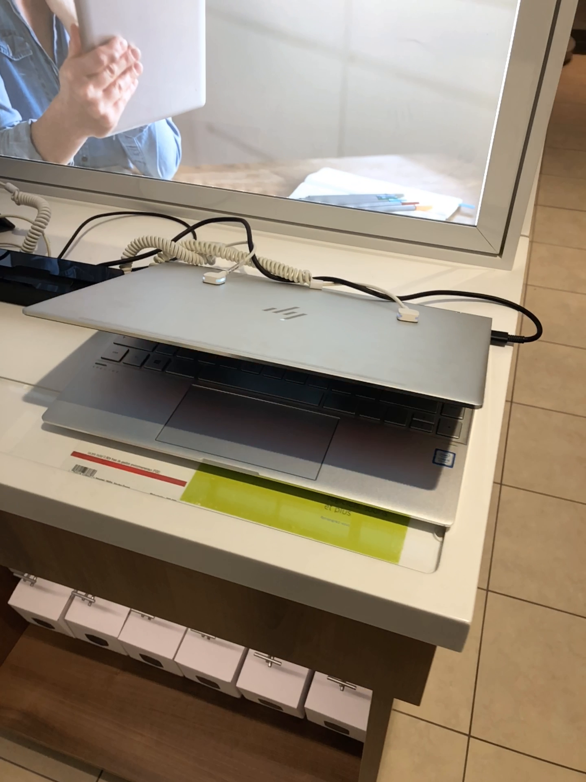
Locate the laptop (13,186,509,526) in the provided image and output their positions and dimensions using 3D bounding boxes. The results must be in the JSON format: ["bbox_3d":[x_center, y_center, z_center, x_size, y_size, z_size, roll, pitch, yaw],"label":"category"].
[{"bbox_3d":[-0.009,-0.047,0.484,0.298,0.078,0.212,13,46,14],"label":"laptop"}]
